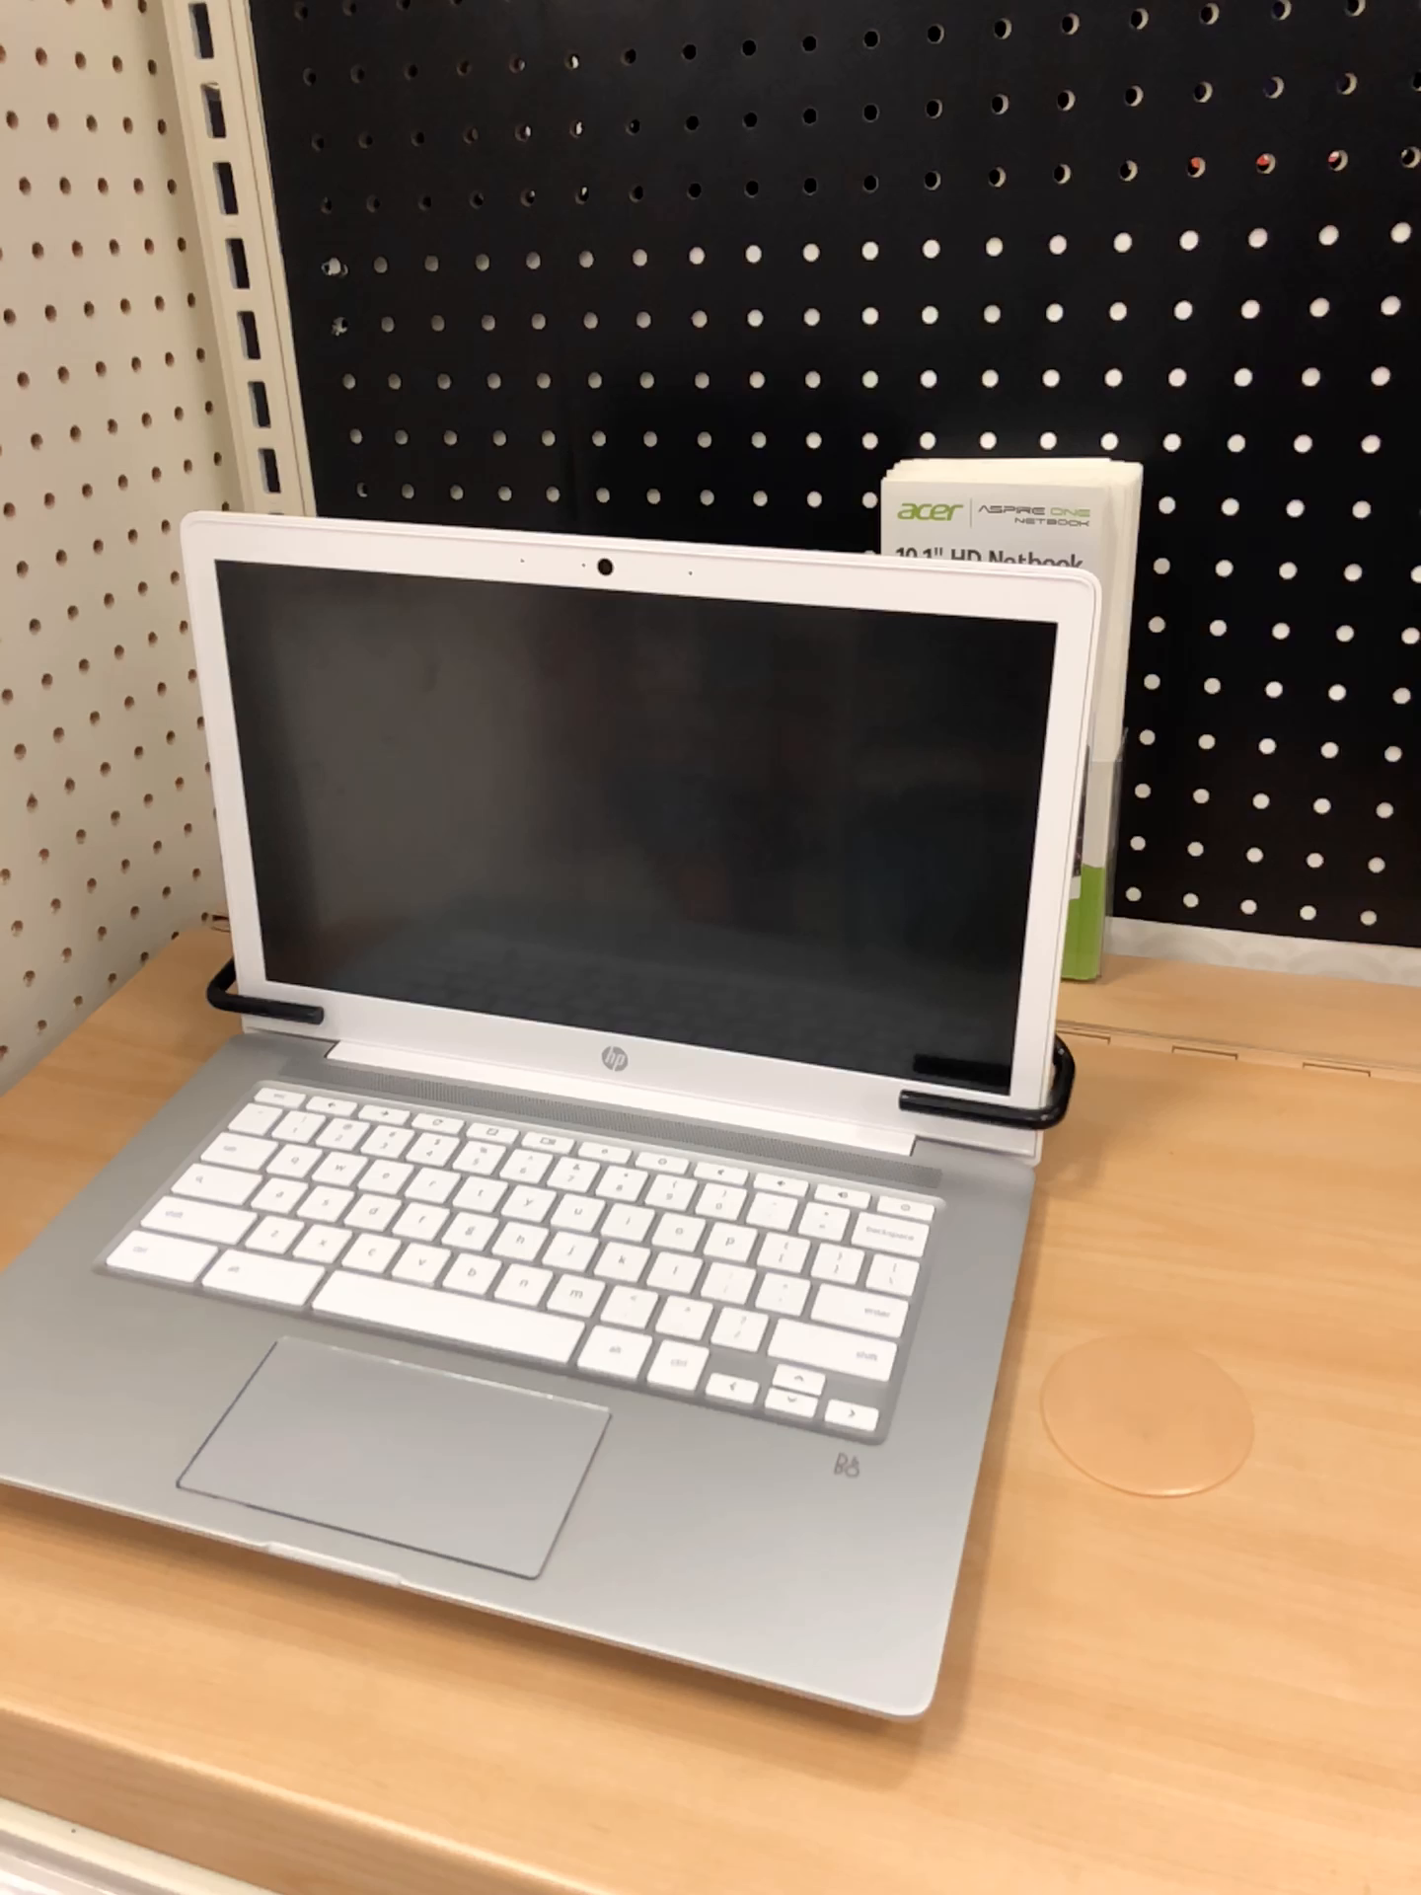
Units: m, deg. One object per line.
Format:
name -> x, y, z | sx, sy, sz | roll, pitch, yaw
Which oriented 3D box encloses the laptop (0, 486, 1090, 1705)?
laptop -> -0.068, 0.004, 0.501 | 0.333, 0.198, 0.281 | 7, 31, 15
